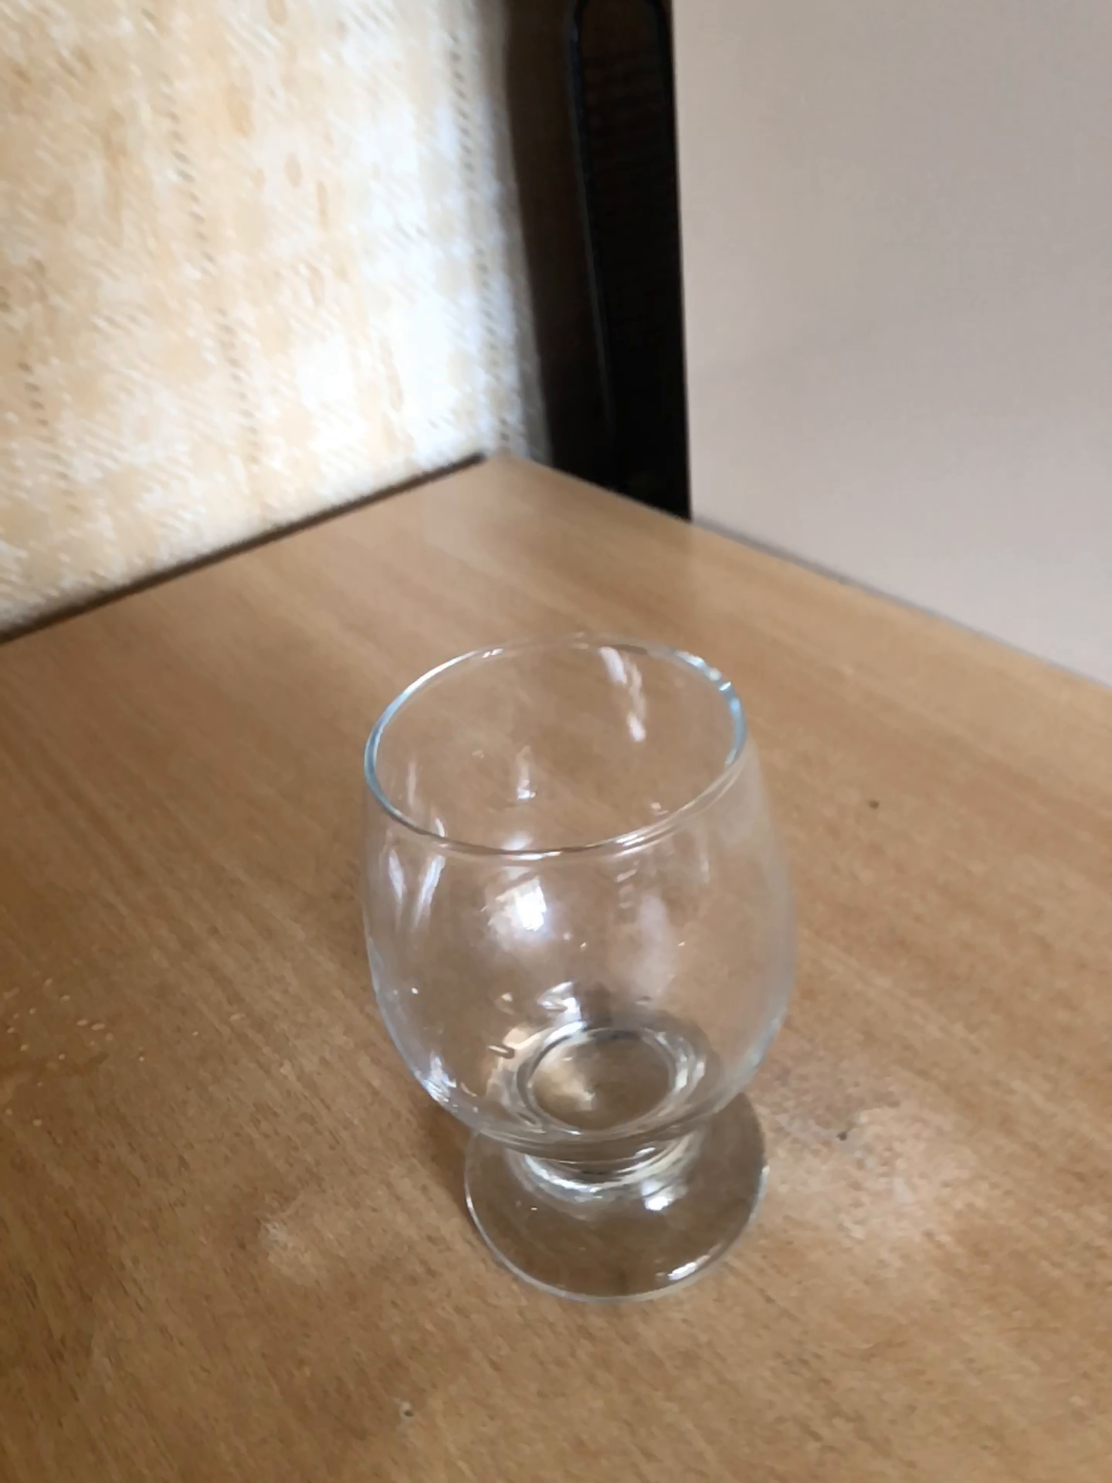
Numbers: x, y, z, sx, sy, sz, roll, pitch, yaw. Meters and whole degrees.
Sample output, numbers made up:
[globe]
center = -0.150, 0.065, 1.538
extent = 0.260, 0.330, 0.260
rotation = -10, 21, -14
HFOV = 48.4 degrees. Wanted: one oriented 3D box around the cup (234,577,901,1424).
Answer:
[cup]
center = 0.006, 0.042, 0.225
extent = 0.077, 0.105, 0.074
rotation = -5, 34, 3
